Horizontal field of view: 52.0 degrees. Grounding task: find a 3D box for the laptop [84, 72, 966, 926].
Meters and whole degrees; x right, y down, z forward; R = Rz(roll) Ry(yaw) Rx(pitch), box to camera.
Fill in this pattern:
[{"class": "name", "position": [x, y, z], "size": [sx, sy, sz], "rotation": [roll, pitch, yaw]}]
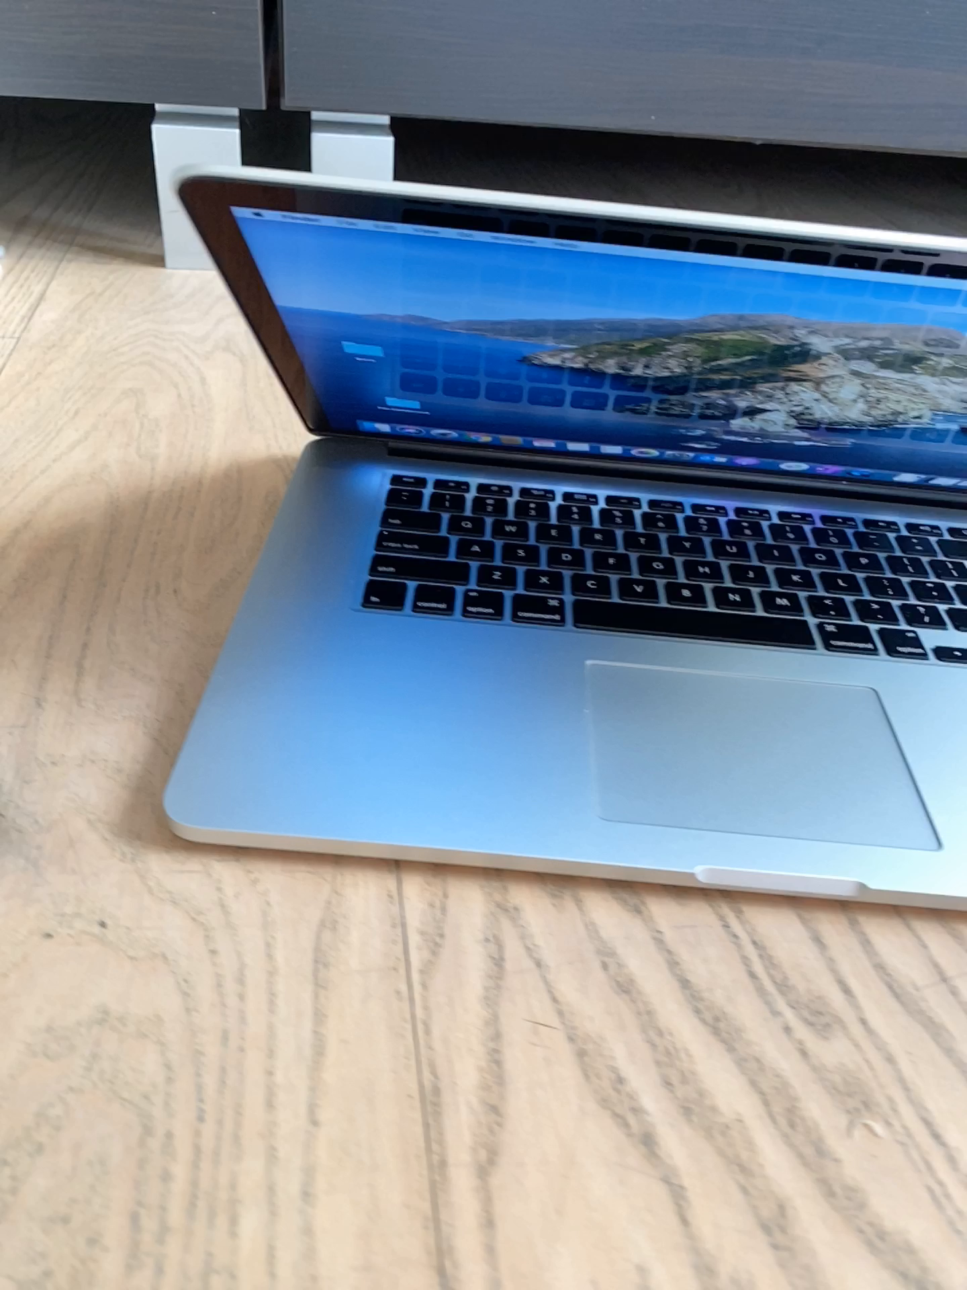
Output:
[{"class": "laptop", "position": [0.099, -0.068, 0.342], "size": [0.361, 0.157, 0.237], "rotation": [6, 38, -2]}]
